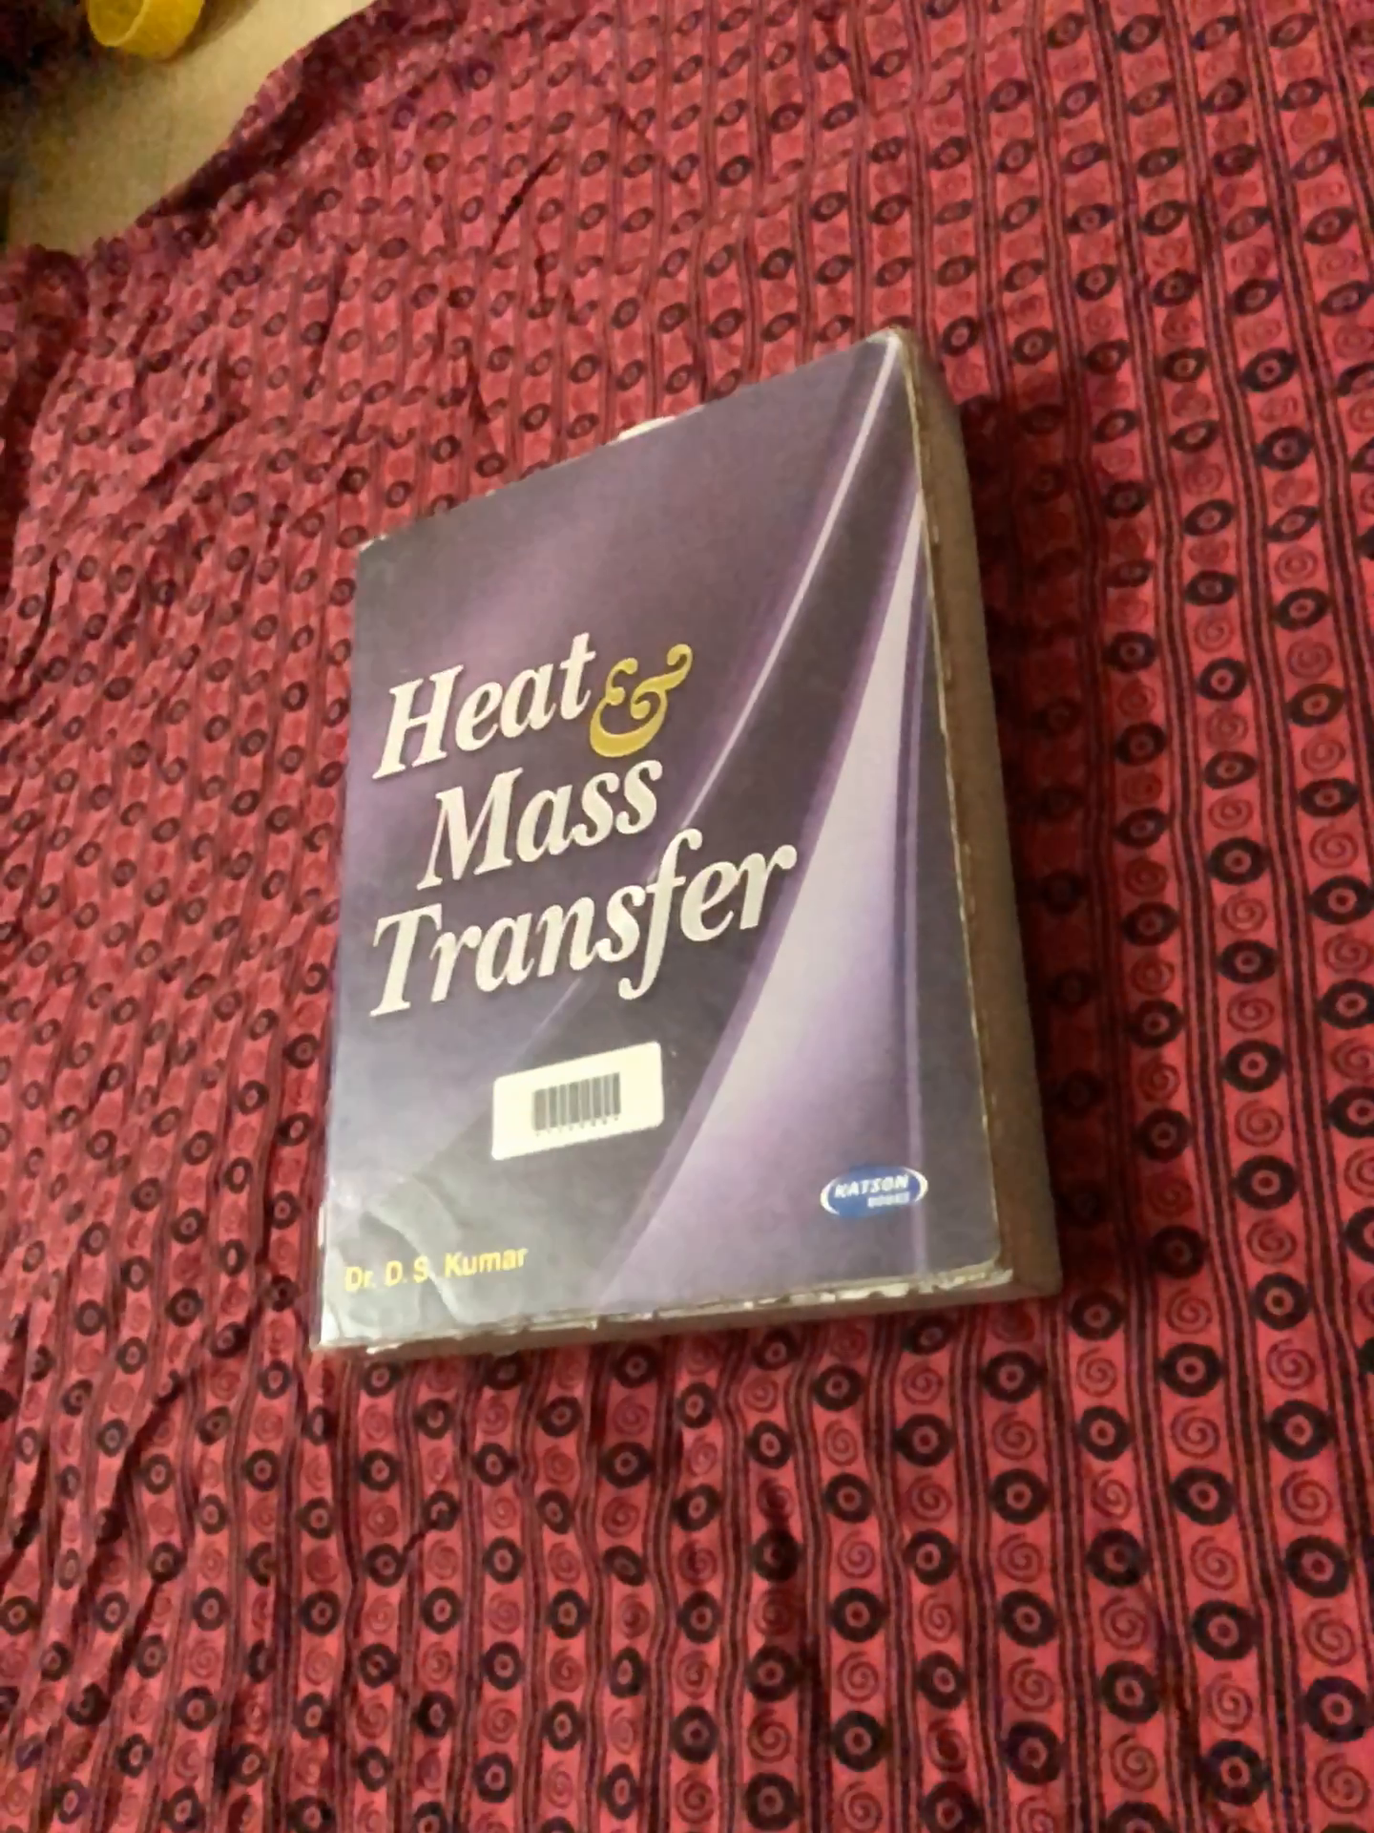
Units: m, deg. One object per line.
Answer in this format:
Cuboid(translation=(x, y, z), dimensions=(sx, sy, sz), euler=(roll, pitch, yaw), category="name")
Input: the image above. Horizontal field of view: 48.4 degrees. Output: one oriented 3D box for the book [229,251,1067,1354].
Cuboid(translation=(-0.016, -0.019, 0.341), dimensions=(0.171, 0.040, 0.211), euler=(-13, 66, 28), category="book")
